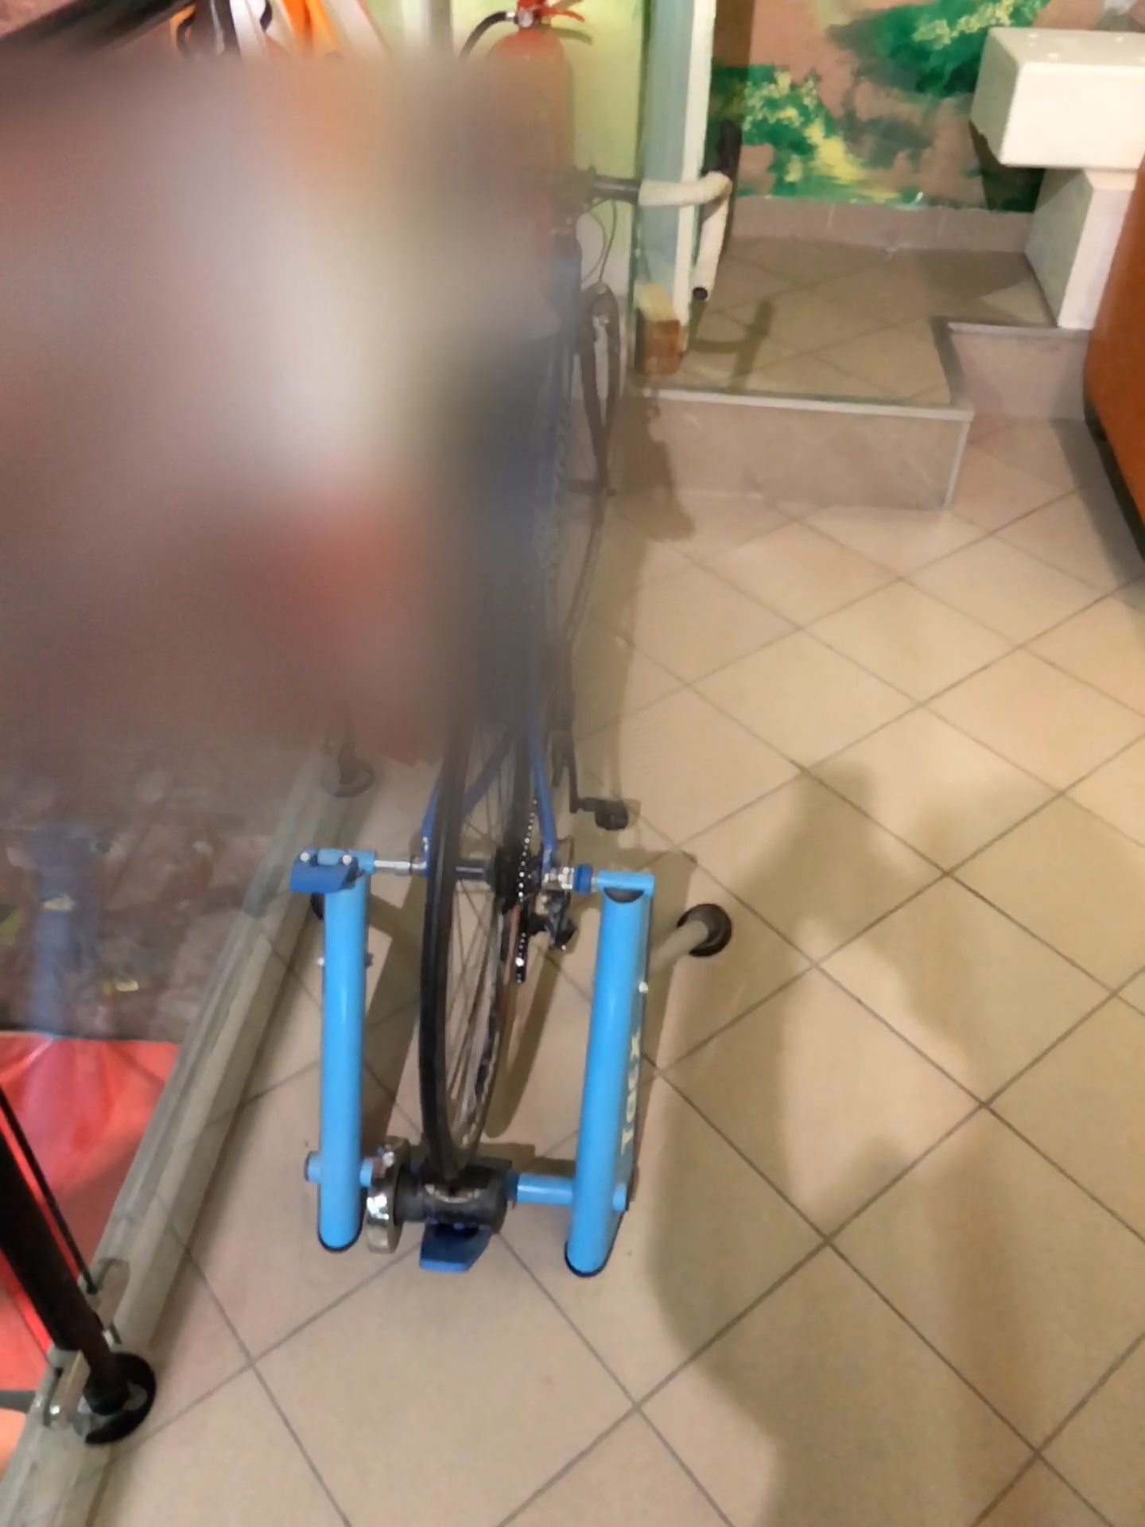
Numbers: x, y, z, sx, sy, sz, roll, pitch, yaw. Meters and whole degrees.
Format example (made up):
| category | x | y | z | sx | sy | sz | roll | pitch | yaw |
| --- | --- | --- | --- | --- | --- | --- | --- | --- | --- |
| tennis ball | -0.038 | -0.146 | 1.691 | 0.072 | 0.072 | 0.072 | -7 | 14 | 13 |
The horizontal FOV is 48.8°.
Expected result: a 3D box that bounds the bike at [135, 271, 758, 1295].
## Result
| category | x | y | z | sx | sy | sz | roll | pitch | yaw |
| --- | --- | --- | --- | --- | --- | --- | --- | --- | --- |
| bike | -0.011 | -0.147 | 1.802 | 0.465 | 0.682 | 1.562 | 5 | 36 | 5 |
